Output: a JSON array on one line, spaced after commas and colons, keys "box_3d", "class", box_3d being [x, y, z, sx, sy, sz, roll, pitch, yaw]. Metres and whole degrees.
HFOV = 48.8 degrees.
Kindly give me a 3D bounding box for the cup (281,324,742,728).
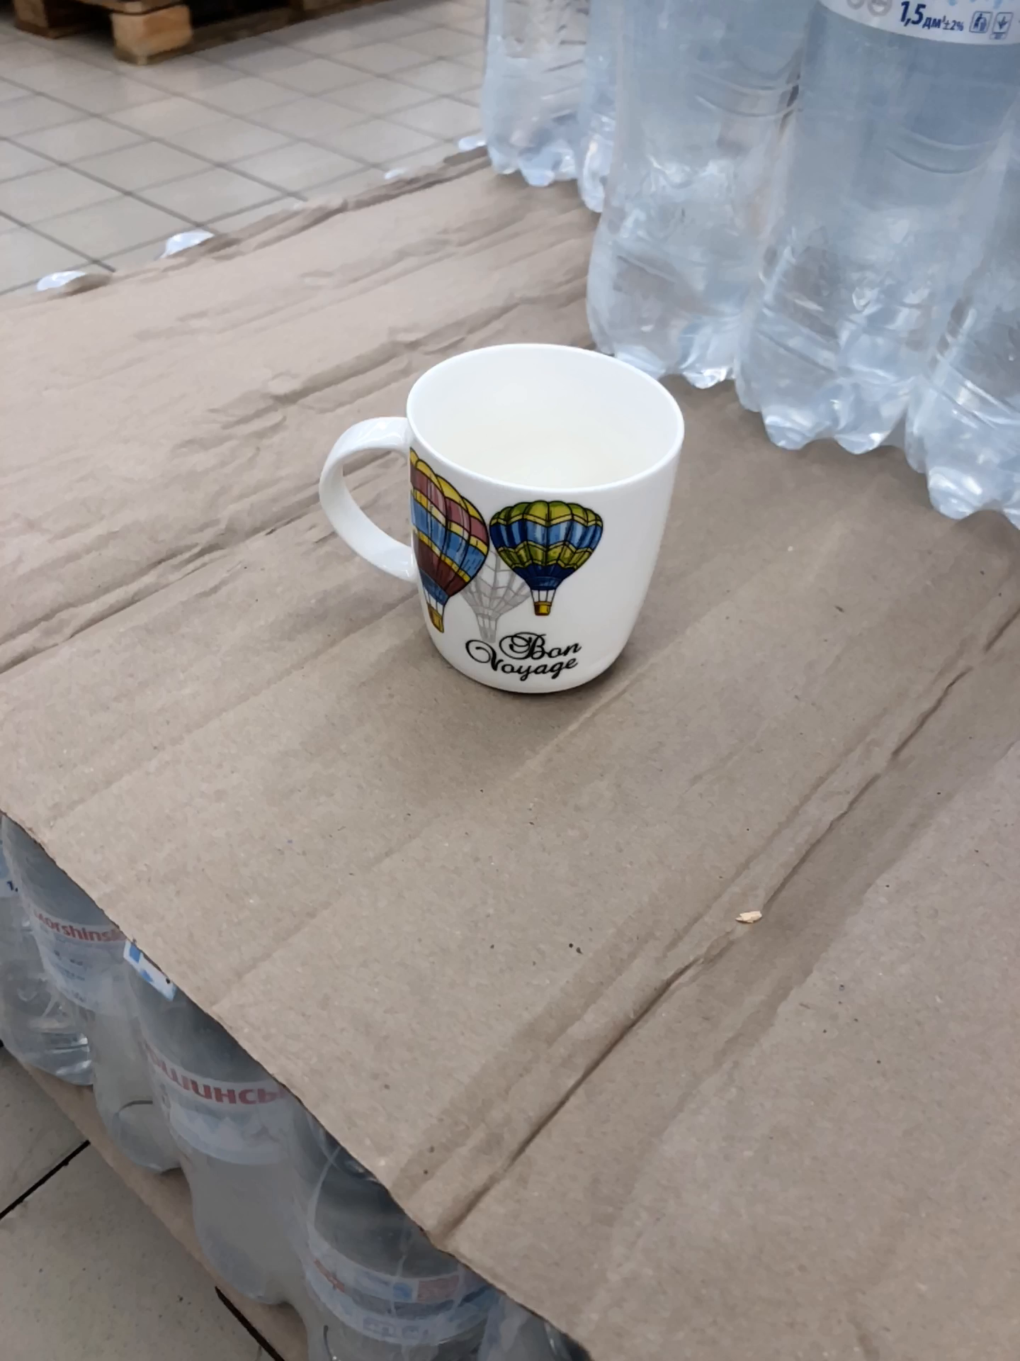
[{"box_3d": [0.004, -0.056, 0.388, 0.131, 0.082, 0.093, 10, 43, 8], "class": "cup"}]
